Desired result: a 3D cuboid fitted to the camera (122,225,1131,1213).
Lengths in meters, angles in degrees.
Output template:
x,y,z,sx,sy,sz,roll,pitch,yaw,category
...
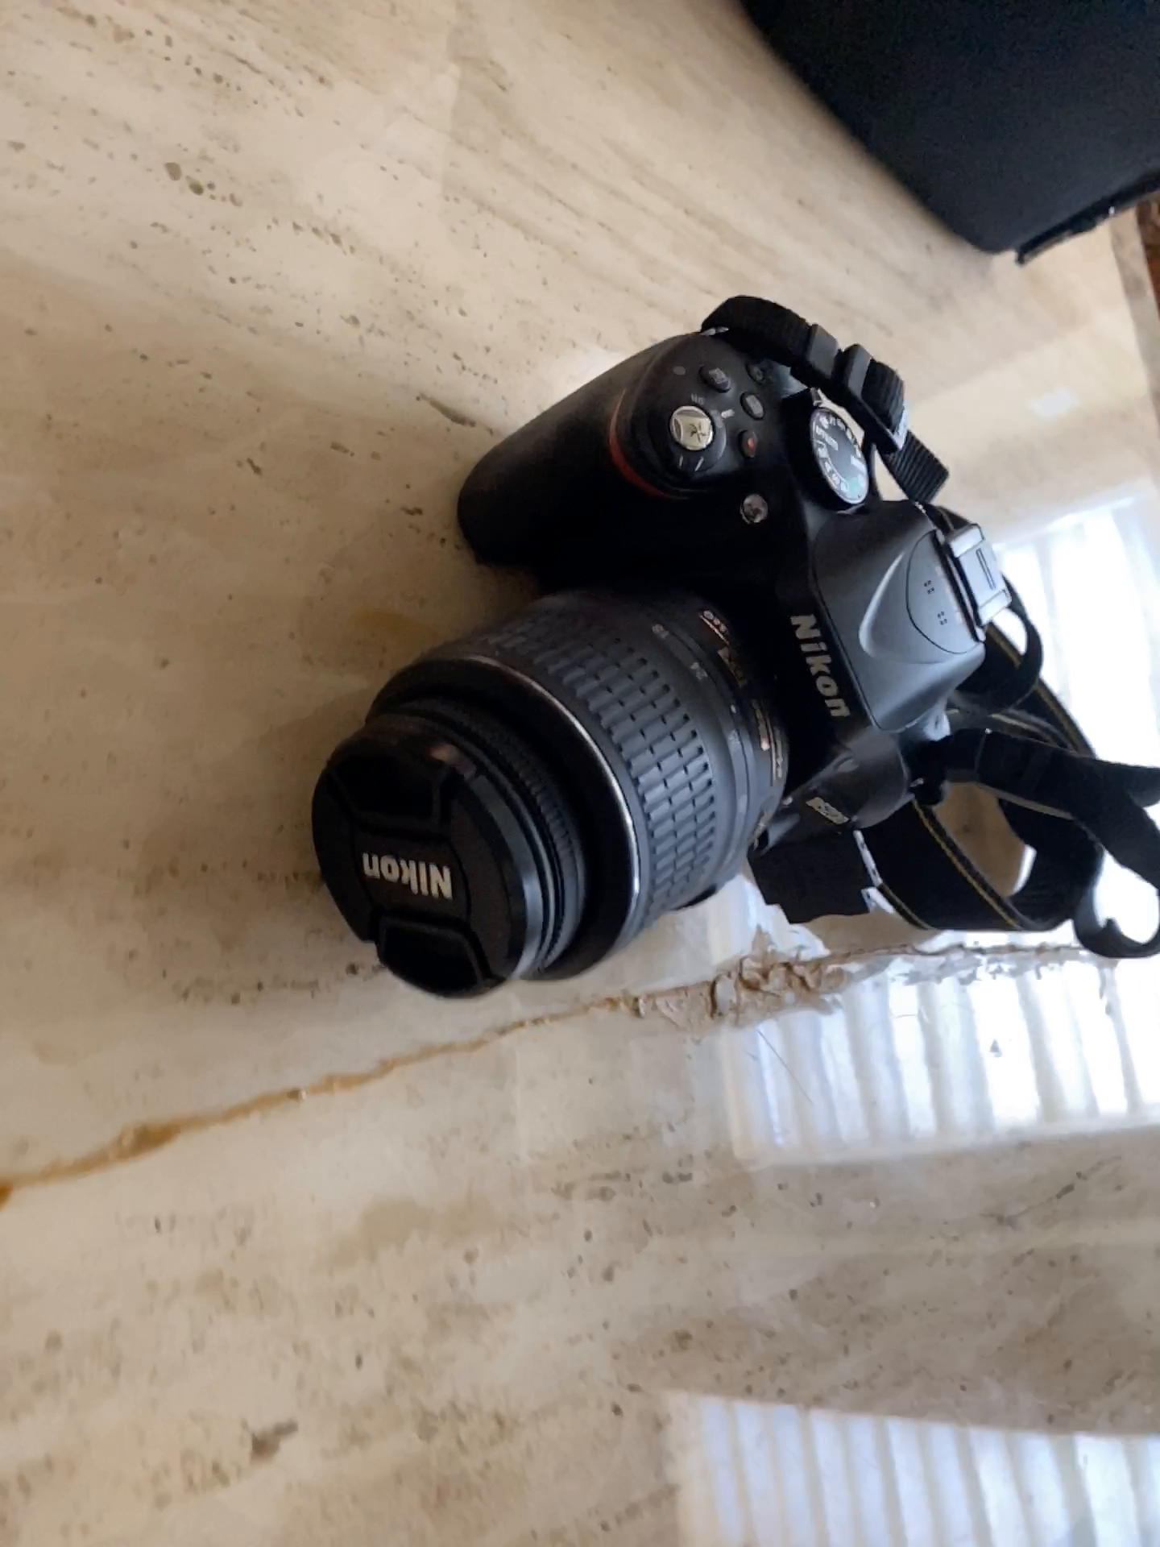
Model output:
x,y,z,sx,sy,sz,roll,pitch,yaw,category
0.025,-0.020,0.264,0.160,0.099,0.152,-33,100,-48,camera
